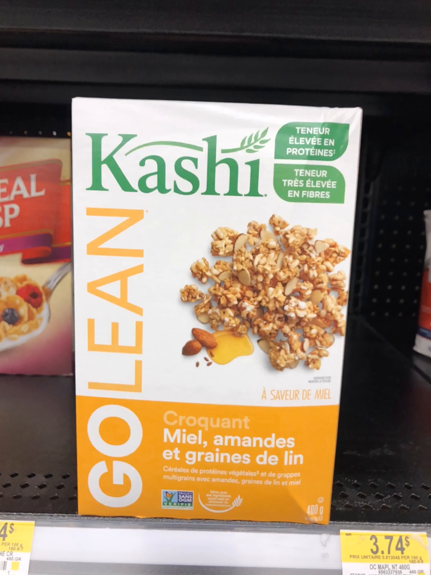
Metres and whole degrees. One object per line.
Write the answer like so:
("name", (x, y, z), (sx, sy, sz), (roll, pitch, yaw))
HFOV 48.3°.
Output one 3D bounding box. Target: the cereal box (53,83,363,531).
("cereal box", (-0.009, 0.017, 0.313), (0.170, 0.269, 0.050), (2, 11, 1))
